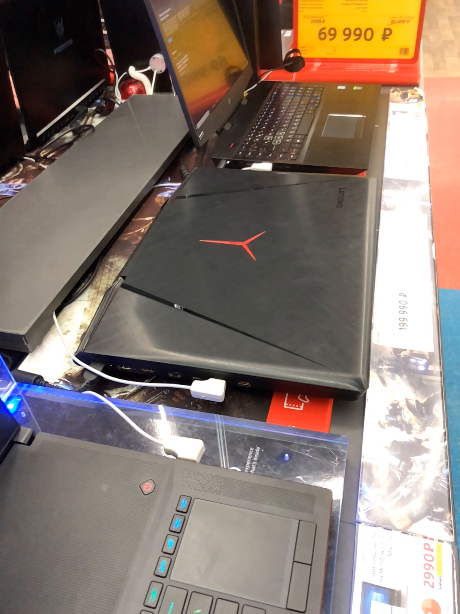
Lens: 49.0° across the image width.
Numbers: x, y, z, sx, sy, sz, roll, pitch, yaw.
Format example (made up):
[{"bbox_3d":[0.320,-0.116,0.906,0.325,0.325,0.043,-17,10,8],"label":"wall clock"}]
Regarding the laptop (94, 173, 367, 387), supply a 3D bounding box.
[{"bbox_3d":[0.034,-0.071,0.636,0.269,0.005,0.401,5,41,11],"label":"laptop"}]
